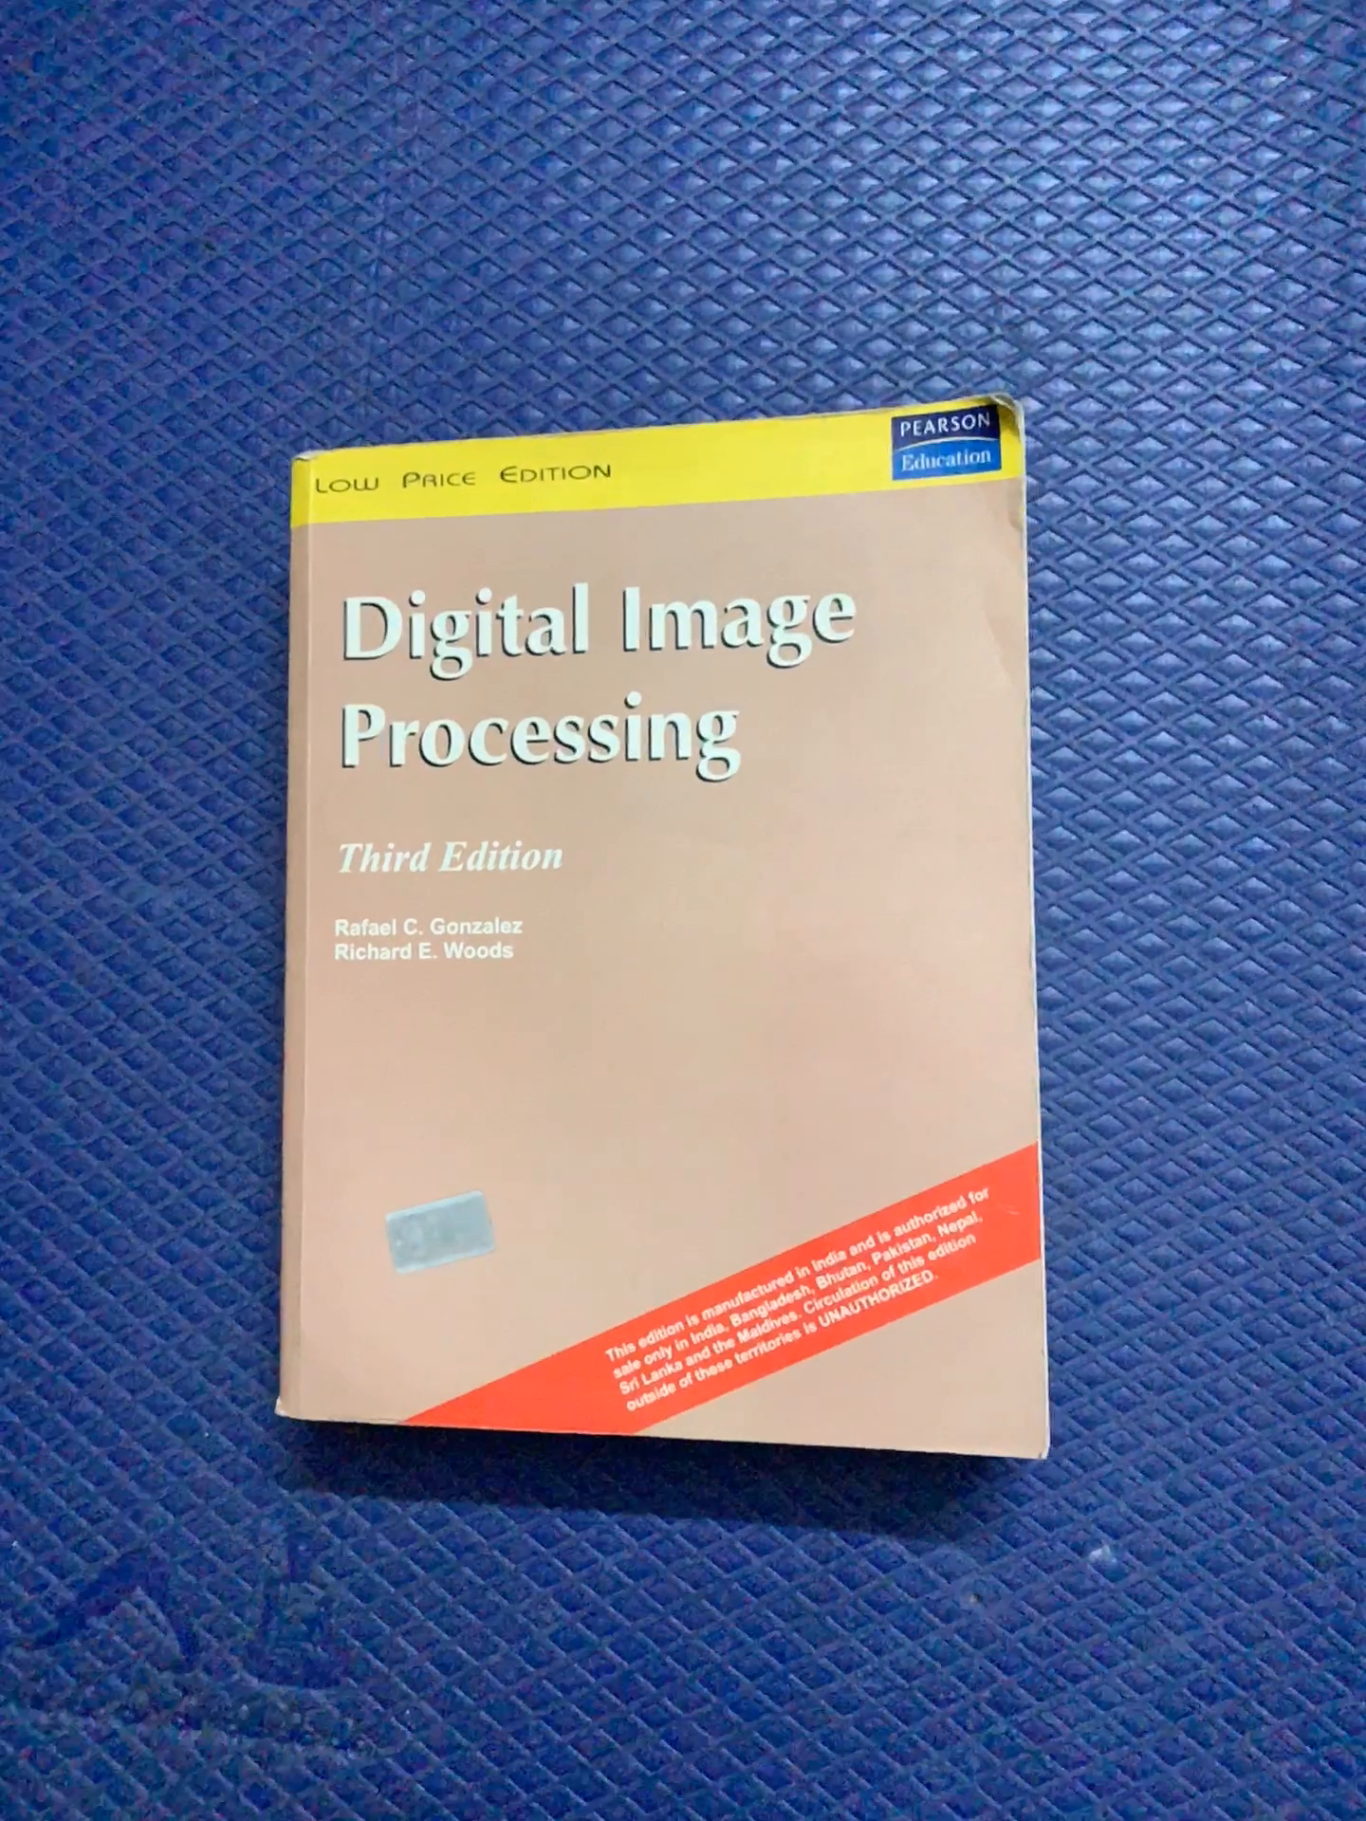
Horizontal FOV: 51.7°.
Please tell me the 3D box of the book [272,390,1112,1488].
[{"bbox_3d":[0.002,0.004,0.322,0.174,0.045,0.225,0,85,7],"label":"book"}]
